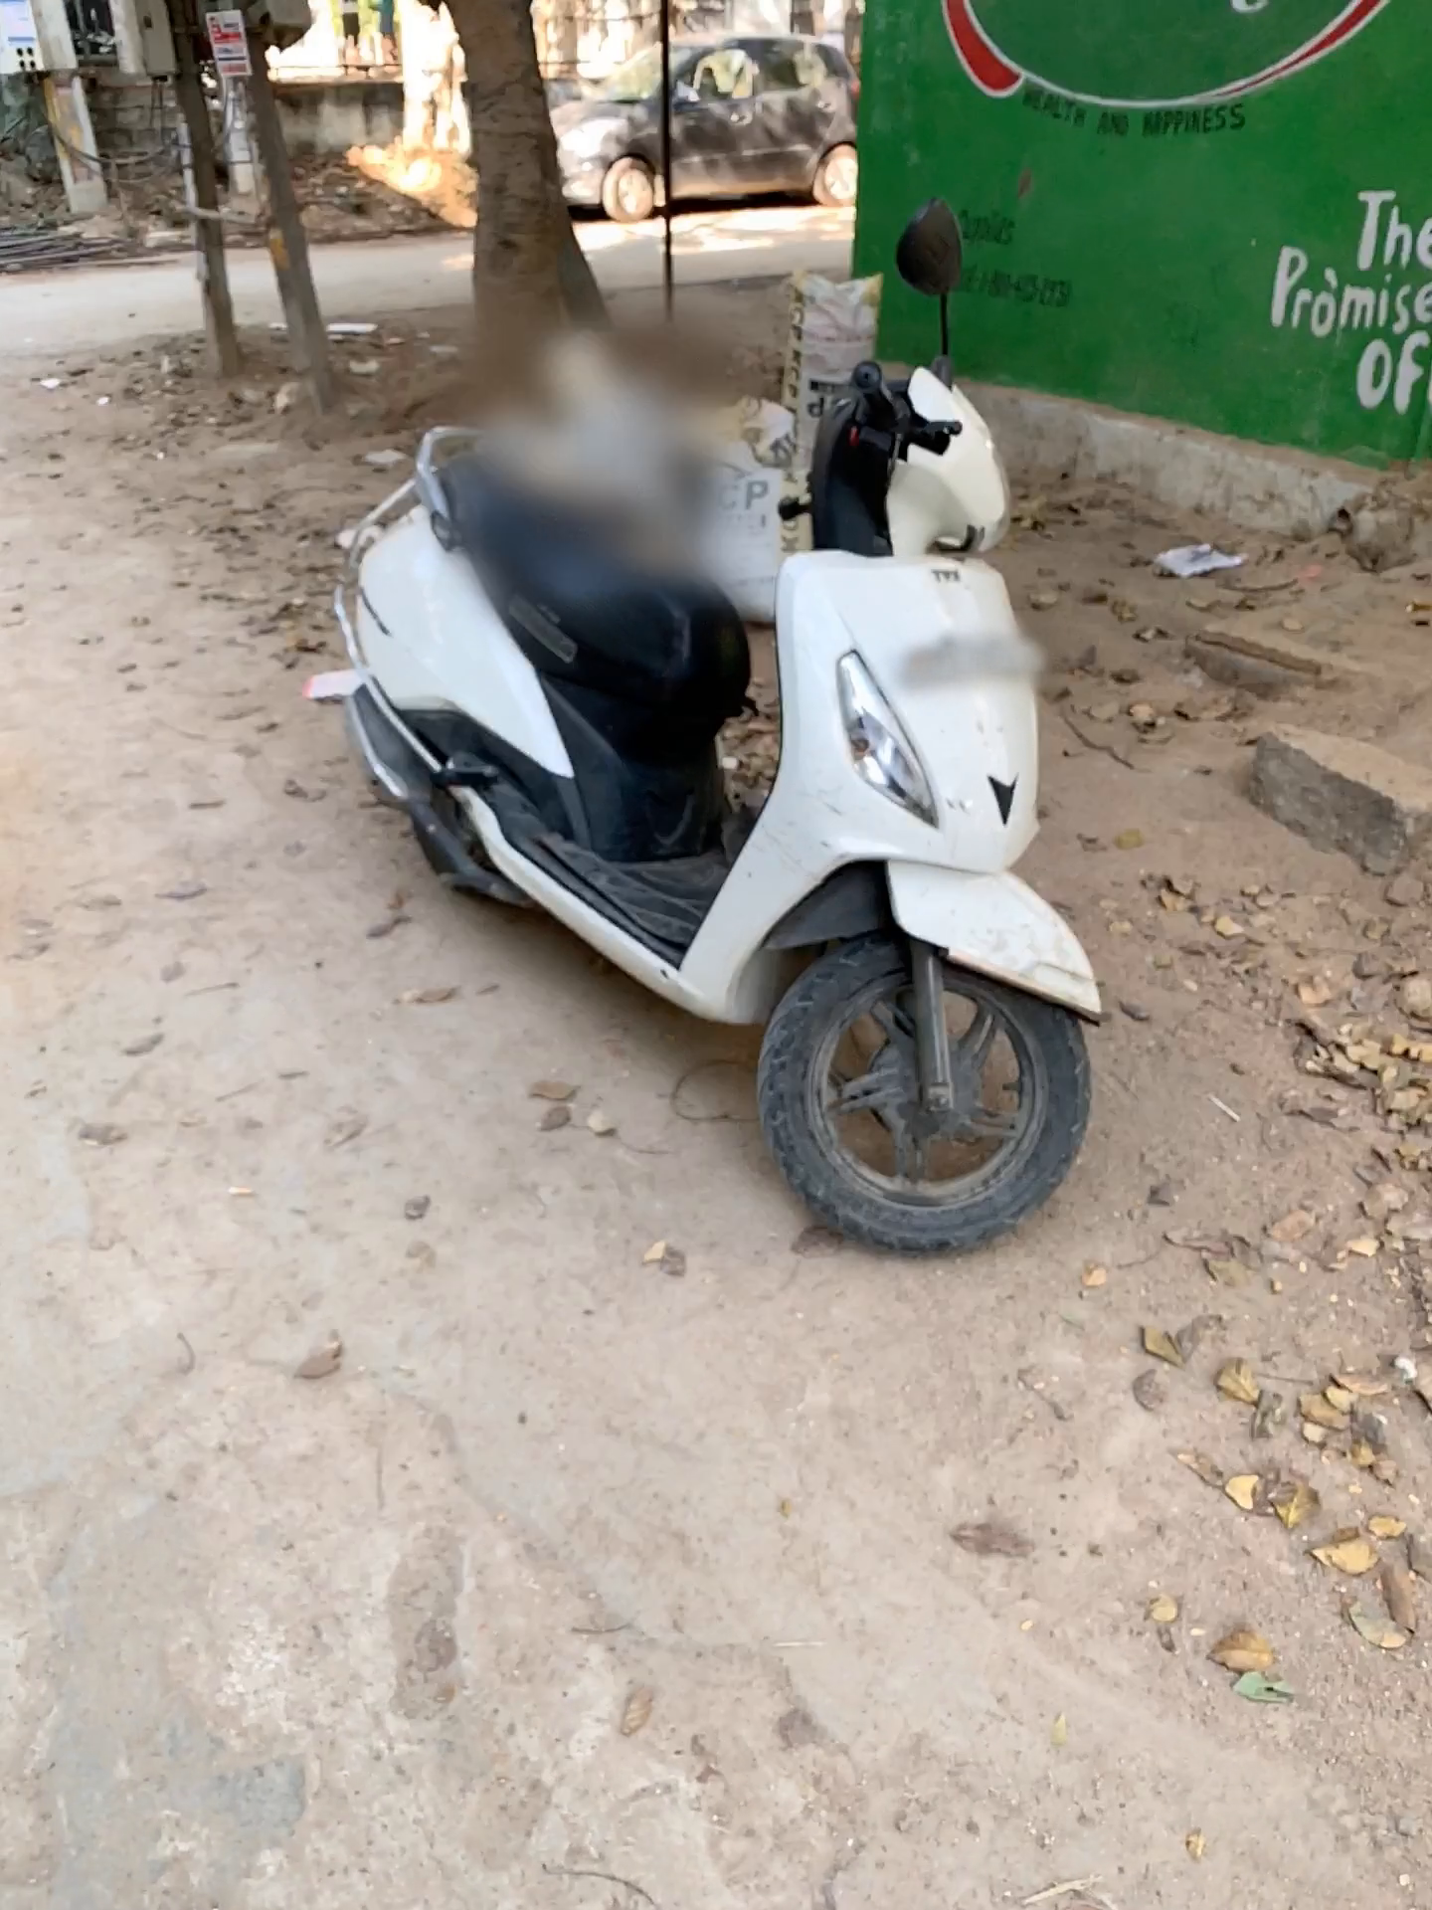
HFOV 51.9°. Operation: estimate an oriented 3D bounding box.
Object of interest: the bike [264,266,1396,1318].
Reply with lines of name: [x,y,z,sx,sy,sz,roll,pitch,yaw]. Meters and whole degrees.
bike: [0.077,-0.385,2.316,1.463,1.066,0.687,28,40,36]
